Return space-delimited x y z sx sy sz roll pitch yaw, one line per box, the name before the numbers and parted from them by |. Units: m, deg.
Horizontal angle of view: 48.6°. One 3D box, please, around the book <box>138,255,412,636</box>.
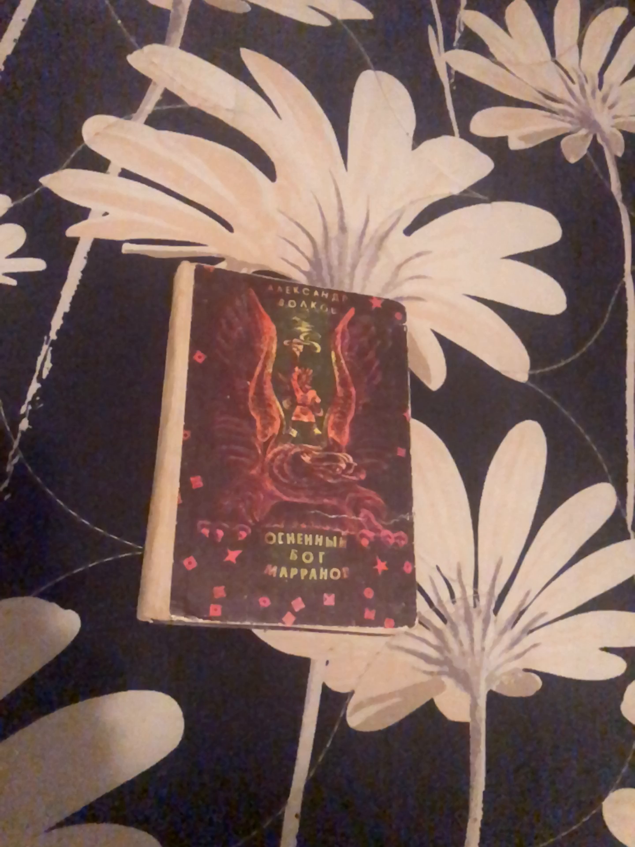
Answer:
book | -0.017 0.014 0.420 0.152 0.019 0.212 8 72 -18
